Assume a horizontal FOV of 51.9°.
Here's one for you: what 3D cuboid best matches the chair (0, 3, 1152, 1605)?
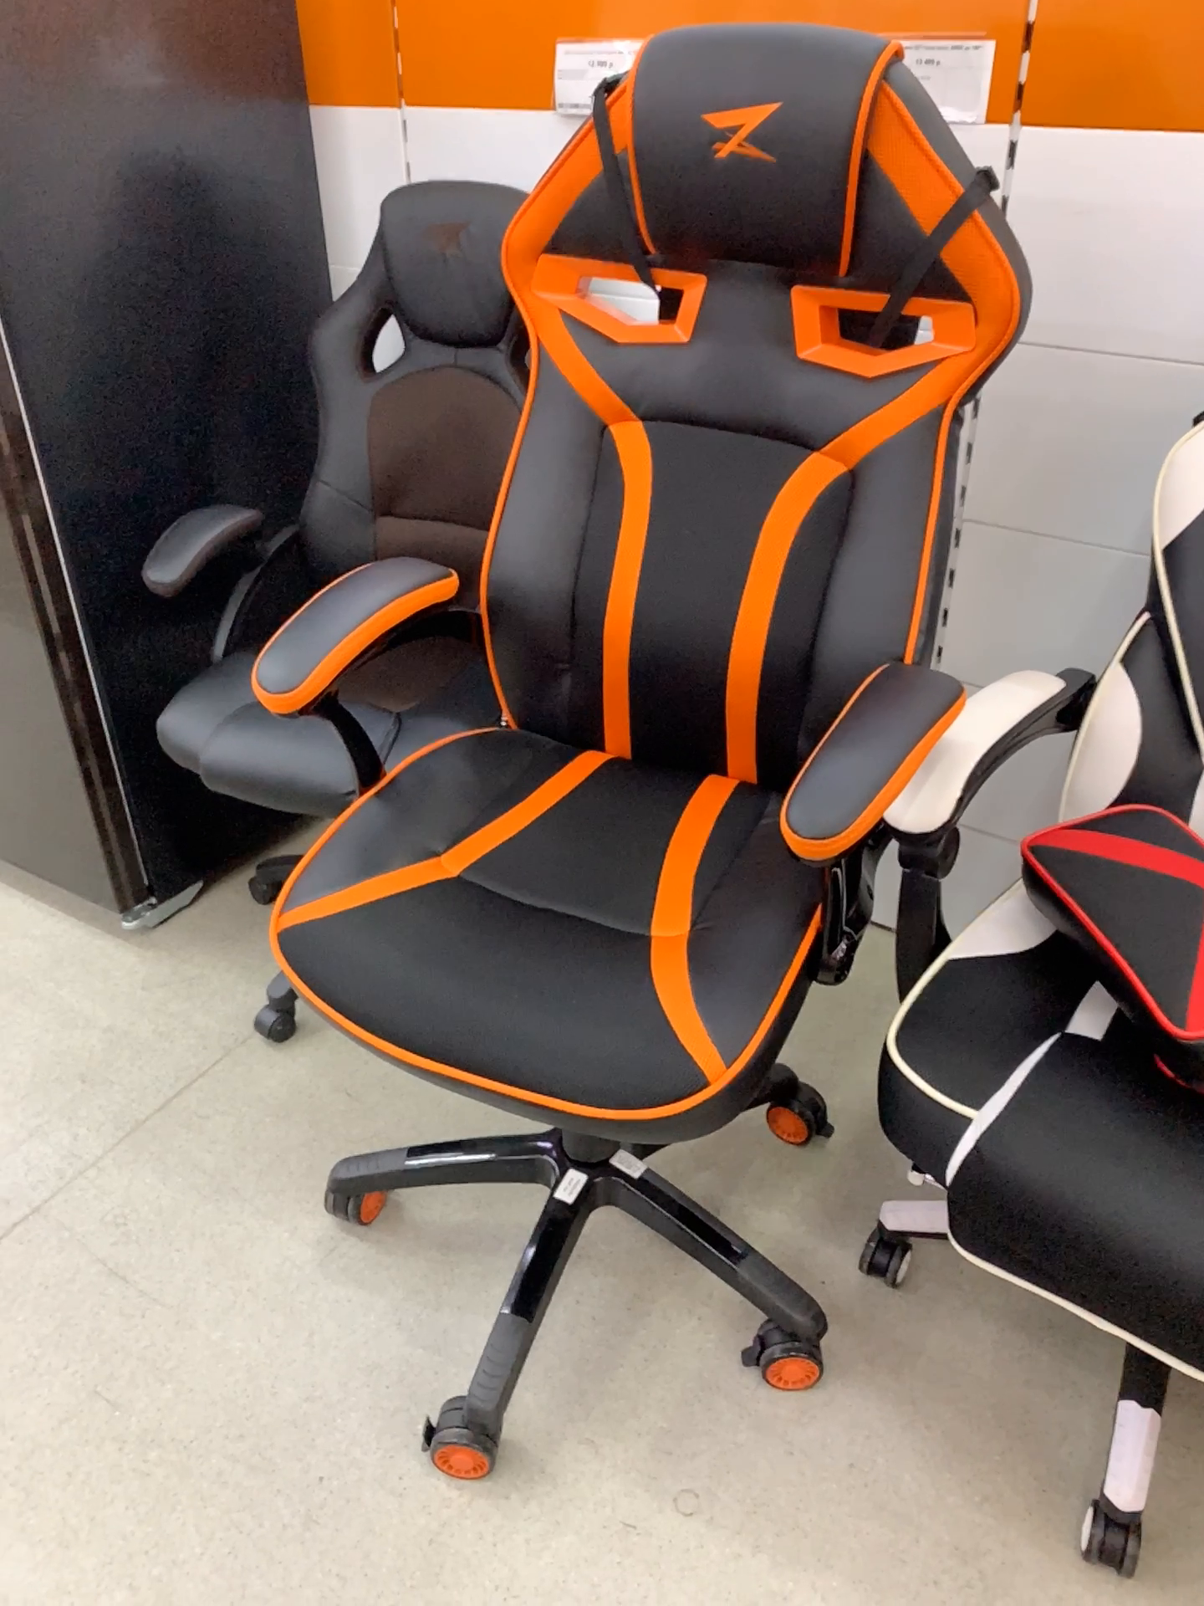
[{"bbox_3d":[-0.041,-0.023,1.263,0.721,1.313,0.733,18,37,28],"label":"chair"}]

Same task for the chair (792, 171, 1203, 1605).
[{"bbox_3d":[0.766,0.106,1.207,0.851,1.193,0.824,15,36,23],"label":"chair"}]

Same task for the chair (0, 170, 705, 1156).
[{"bbox_3d":[-0.363,-0.265,2.062,0.821,1.323,0.724,15,36,23],"label":"chair"}]
